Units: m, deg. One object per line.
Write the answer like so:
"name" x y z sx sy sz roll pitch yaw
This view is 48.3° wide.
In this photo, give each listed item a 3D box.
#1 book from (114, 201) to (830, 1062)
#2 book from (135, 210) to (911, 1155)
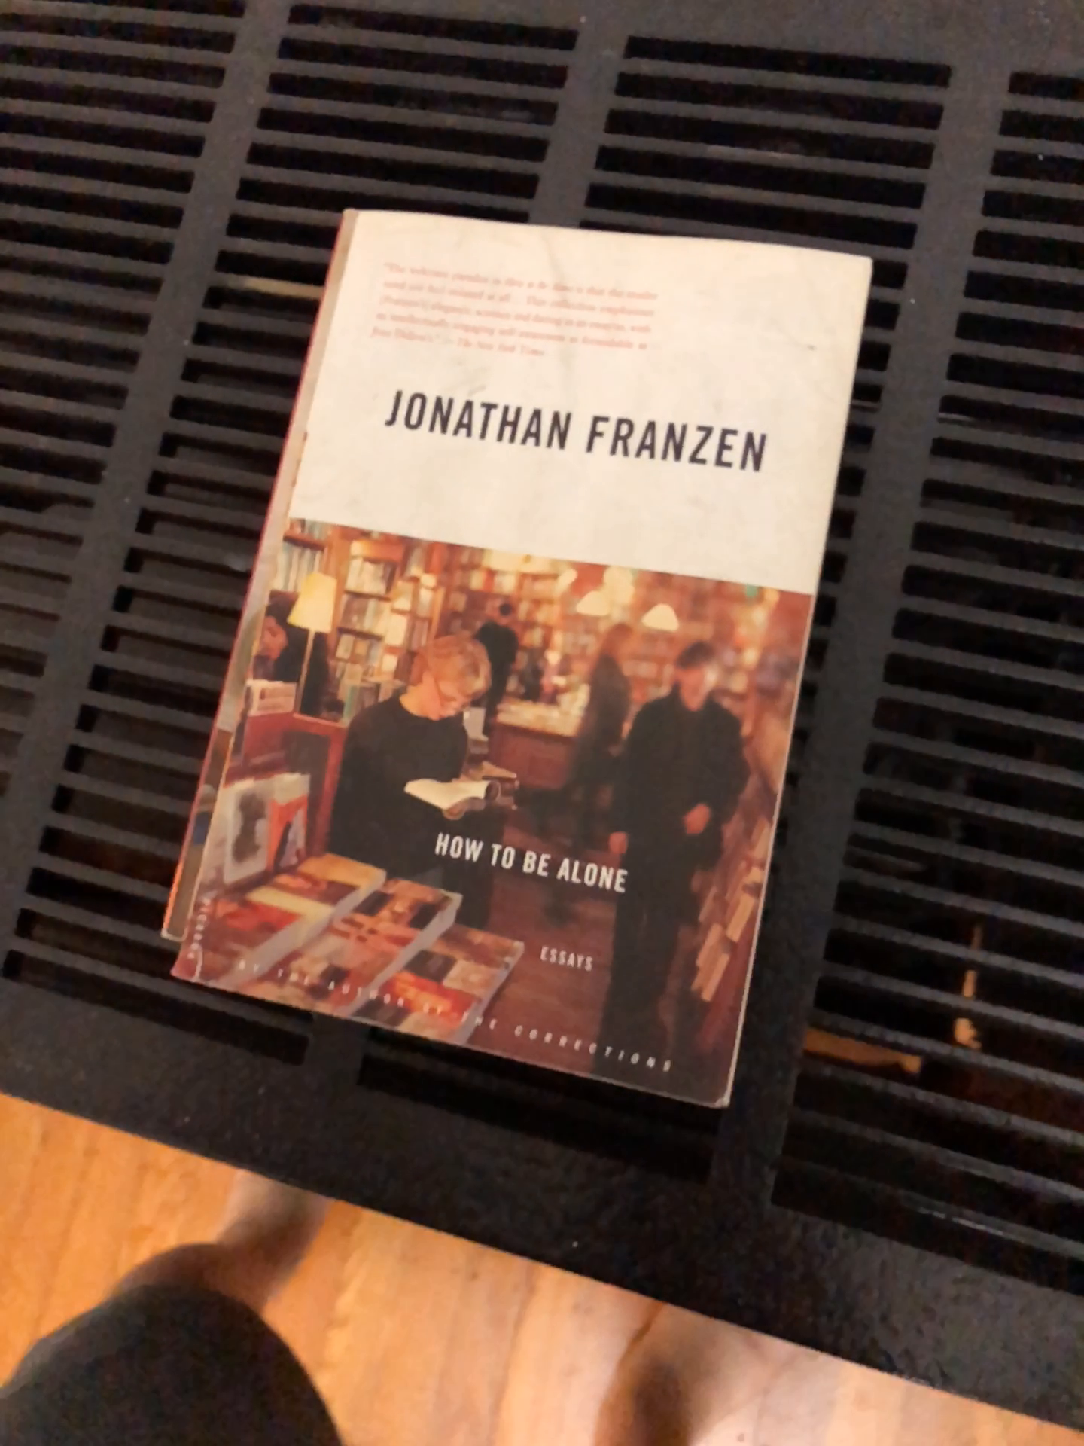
"book" -0.015 -0.032 0.326 0.150 0.030 0.210 9 81 12
"book" -0.001 -0.019 0.302 0.150 0.030 0.210 9 81 12
